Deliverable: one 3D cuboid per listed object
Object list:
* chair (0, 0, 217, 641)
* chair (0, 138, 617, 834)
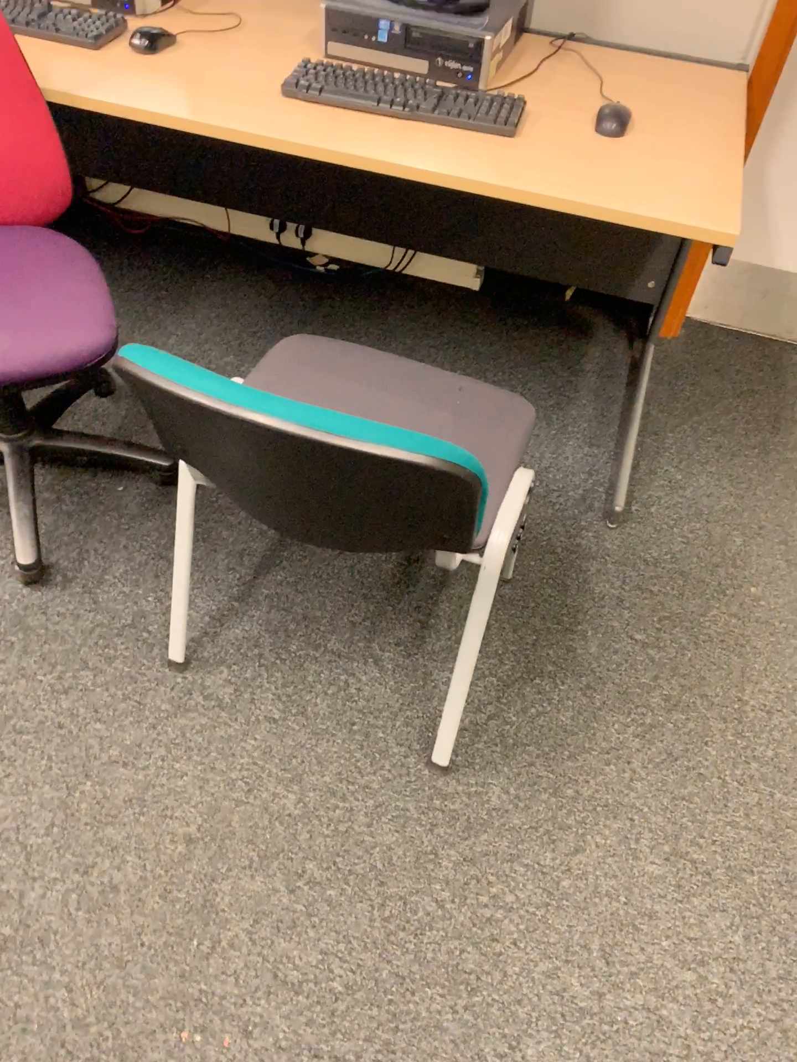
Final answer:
[{"bbox_3d":[-0.767,-0.422,1.385,0.653,0.860,0.673,-17,51,-21],"label":"chair"},{"bbox_3d":[-0.085,-0.061,1.229,0.552,0.721,0.603,17,48,9],"label":"chair"}]
